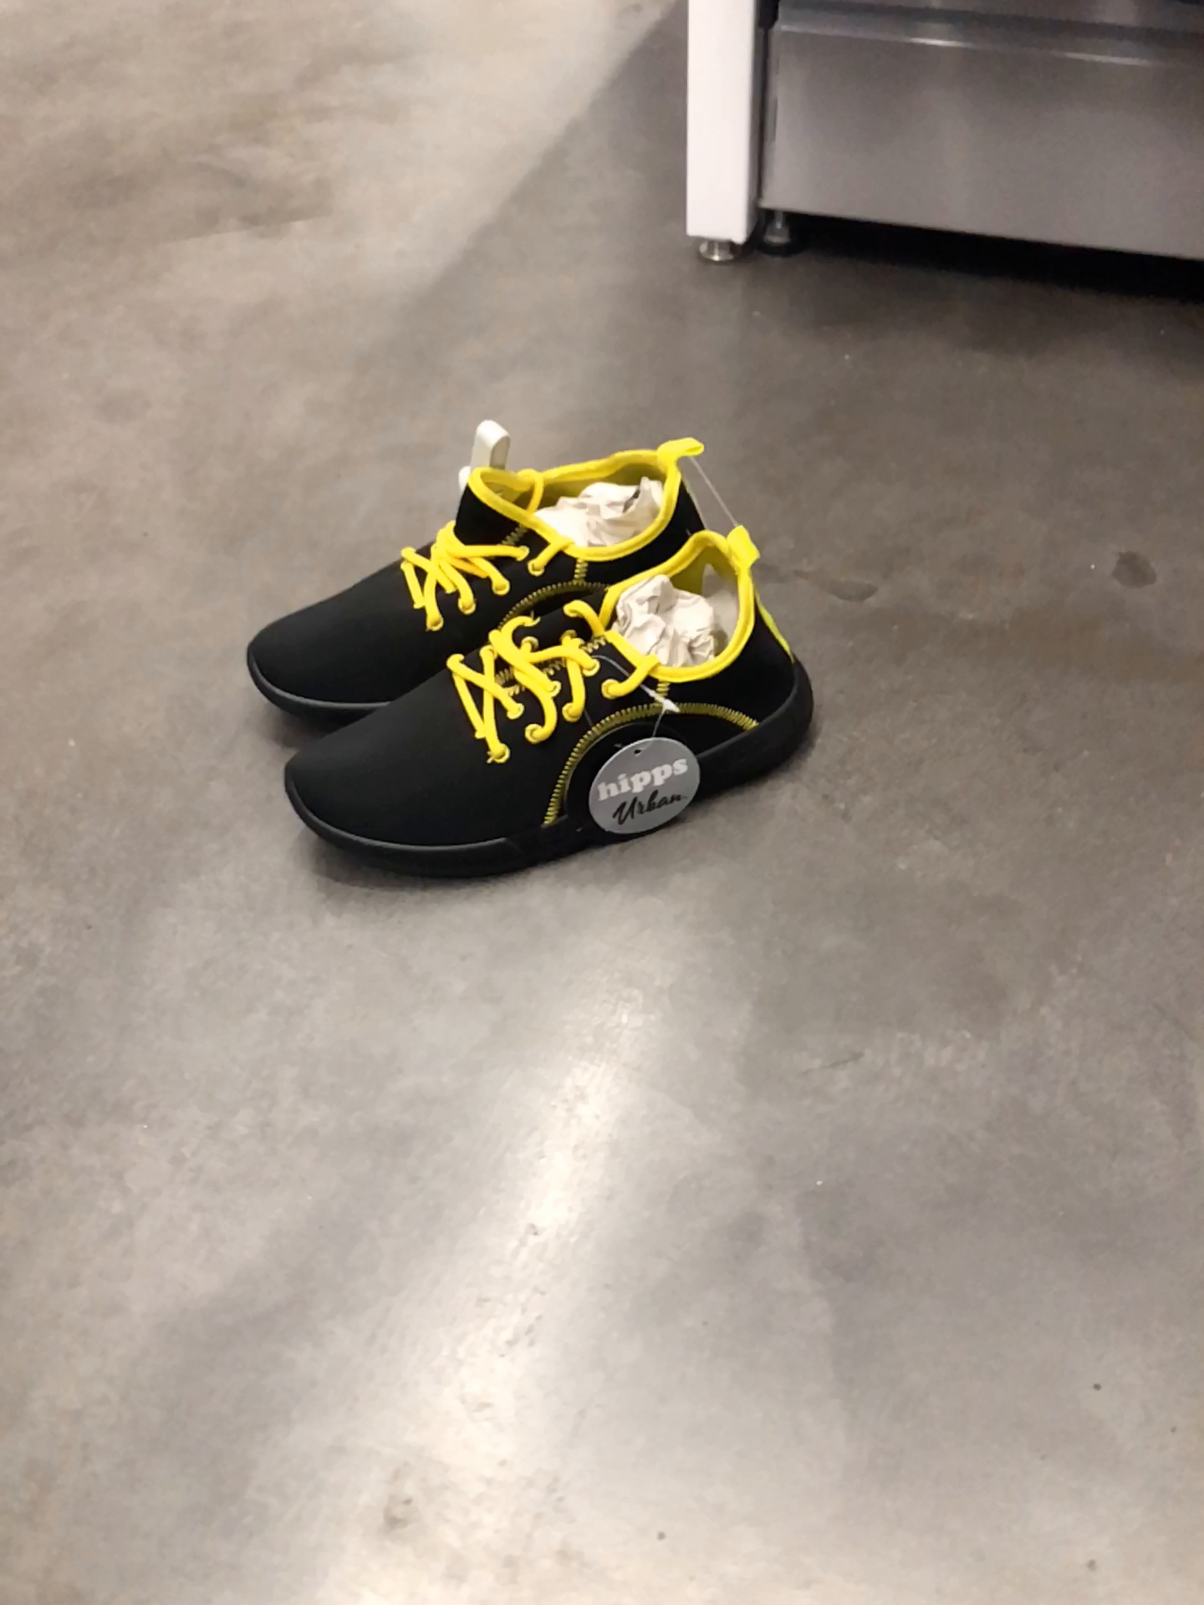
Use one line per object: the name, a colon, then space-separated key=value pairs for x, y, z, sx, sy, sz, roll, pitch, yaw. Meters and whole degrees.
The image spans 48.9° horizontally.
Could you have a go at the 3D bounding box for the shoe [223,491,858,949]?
shoe: x=-0.023 y=-0.037 z=0.551 sx=0.230 sy=0.099 sz=0.090 roll=-16 pitch=49 yaw=-12

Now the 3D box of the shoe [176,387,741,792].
shoe: x=-0.062 y=-0.101 z=0.613 sx=0.230 sy=0.099 sz=0.090 roll=-16 pitch=49 yaw=-12
